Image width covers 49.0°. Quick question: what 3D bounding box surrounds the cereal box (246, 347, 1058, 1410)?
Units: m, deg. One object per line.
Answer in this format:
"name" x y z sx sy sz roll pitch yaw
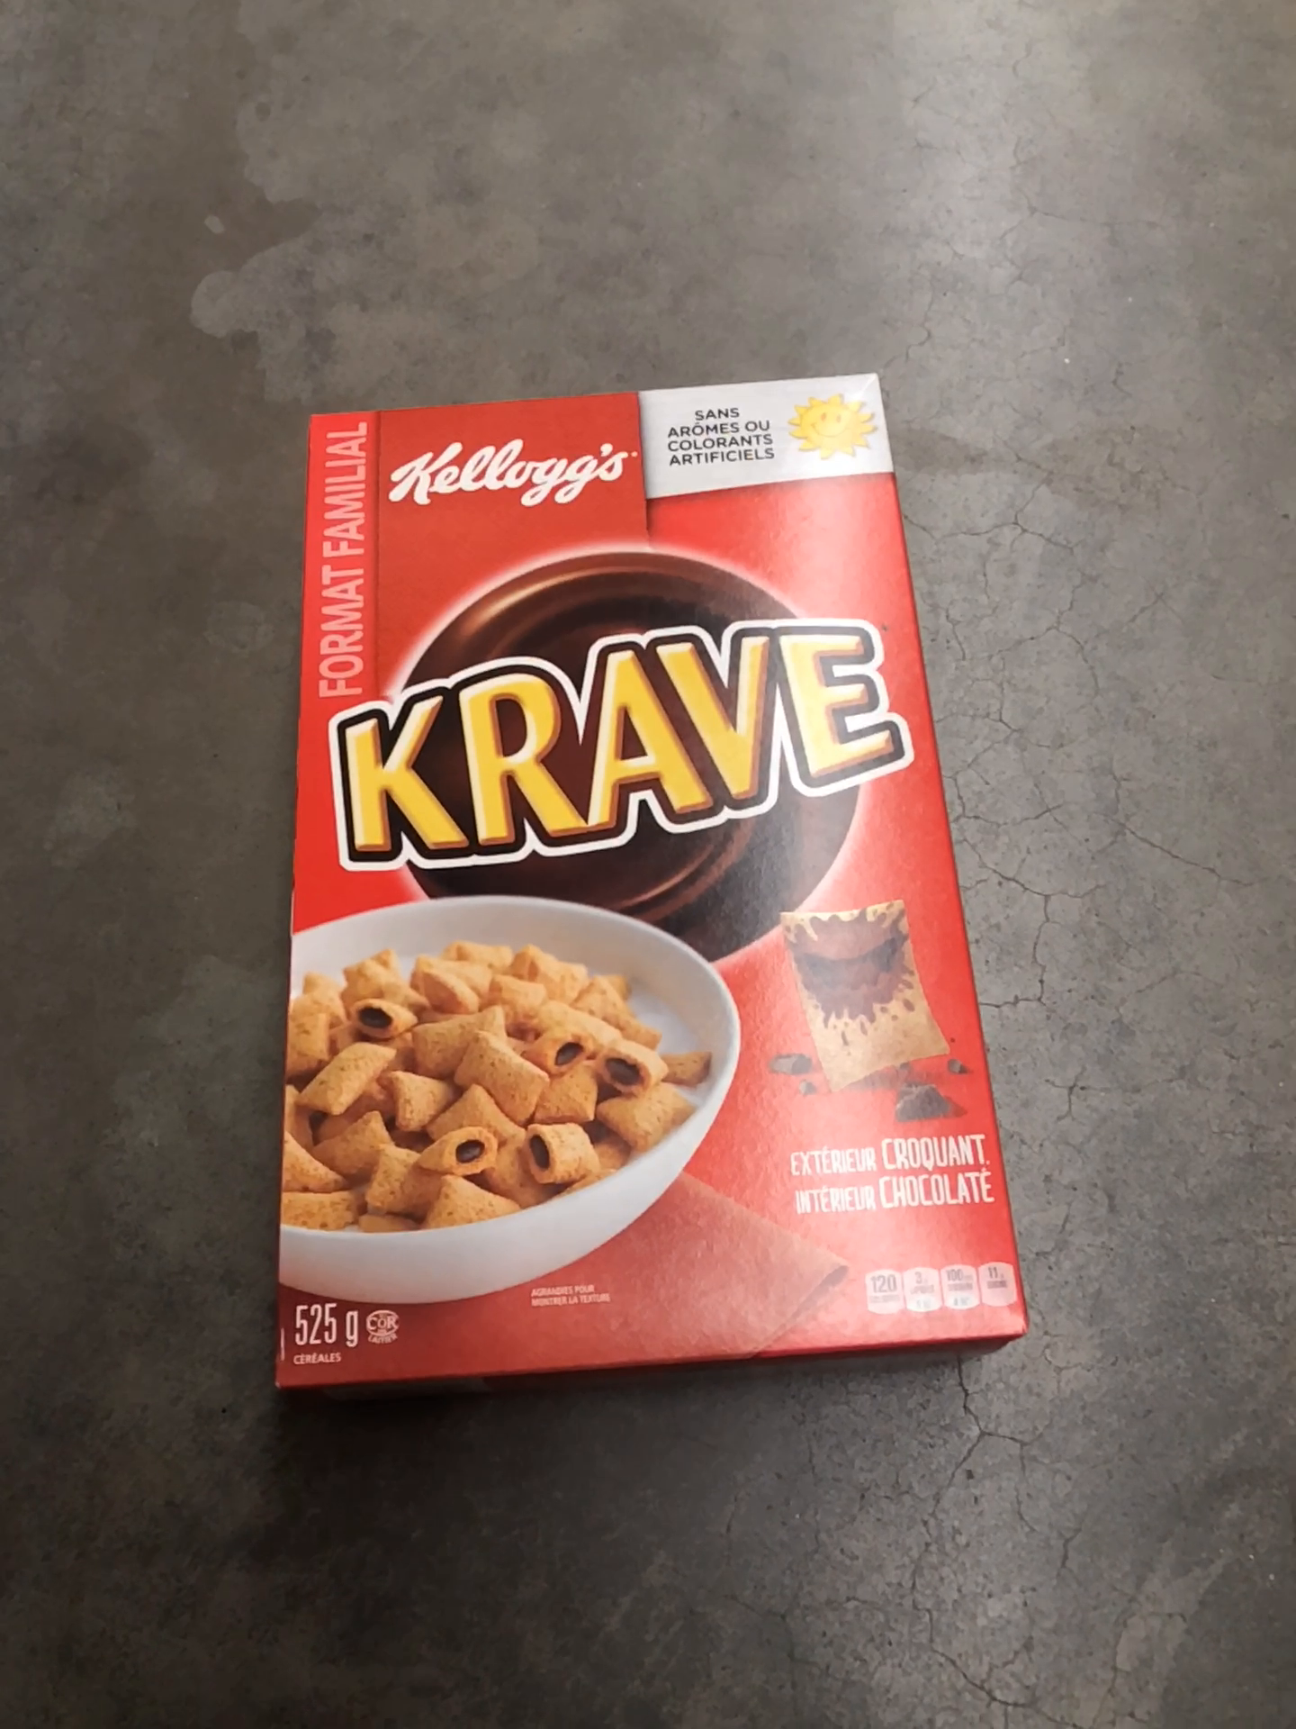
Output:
"cereal box" -0.009 -0.005 0.440 0.200 0.070 0.311 -4 68 0
